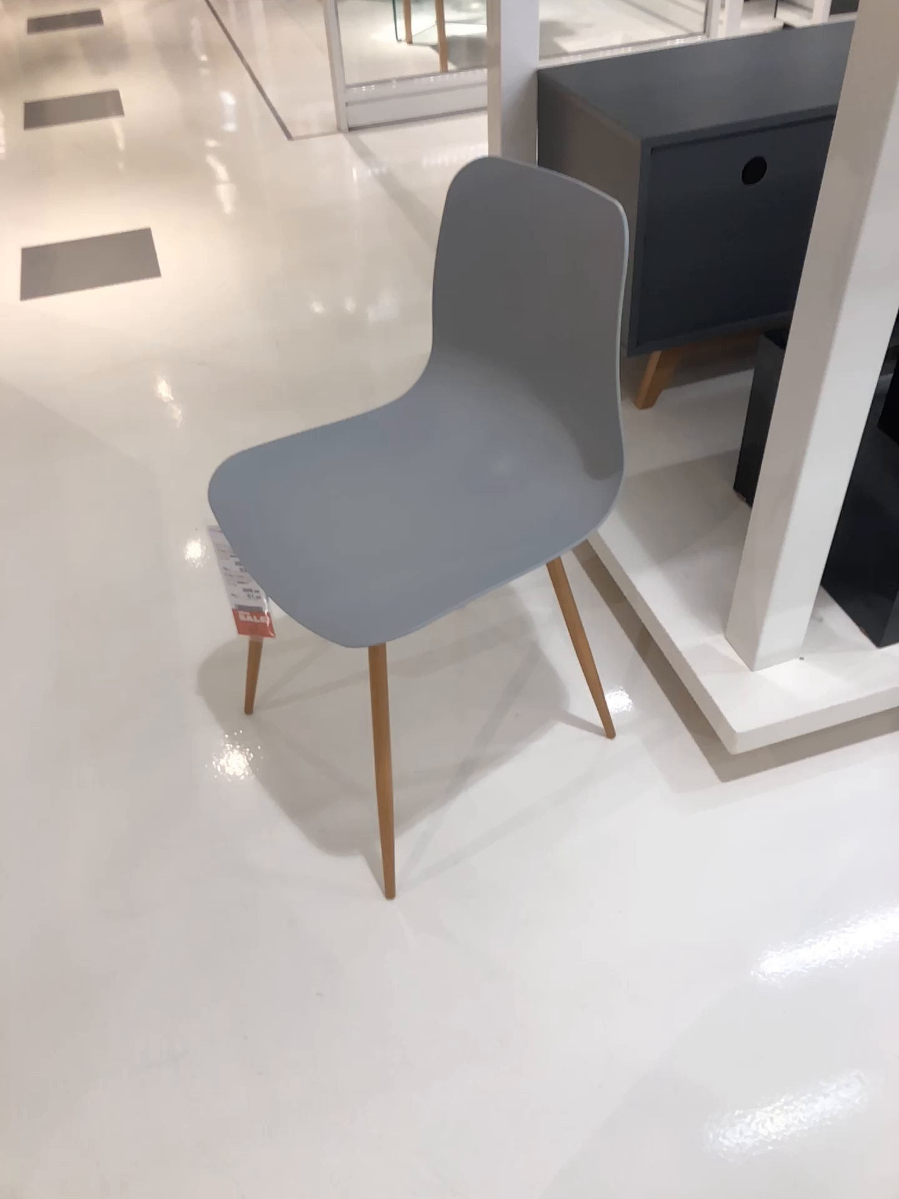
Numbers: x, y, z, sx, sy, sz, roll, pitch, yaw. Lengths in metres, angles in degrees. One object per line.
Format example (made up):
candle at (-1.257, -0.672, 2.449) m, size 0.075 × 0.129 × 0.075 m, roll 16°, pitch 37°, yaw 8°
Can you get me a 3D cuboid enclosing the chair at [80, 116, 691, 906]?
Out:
chair at (-0.062, -0.107, 1.317) m, size 0.471 × 0.814 × 0.472 m, roll -28°, pitch 47°, yaw -24°
